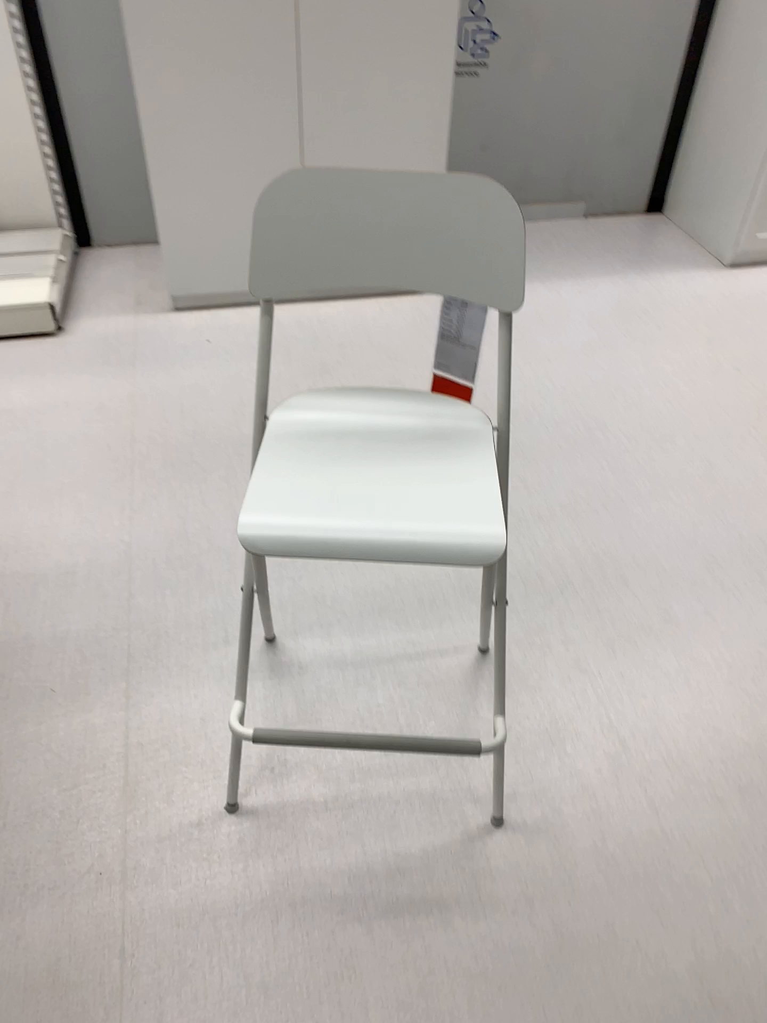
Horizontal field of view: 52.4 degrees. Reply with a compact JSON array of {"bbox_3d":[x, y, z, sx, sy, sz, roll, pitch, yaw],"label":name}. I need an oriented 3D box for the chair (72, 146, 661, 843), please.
[{"bbox_3d":[-0.026,0.033,1.187,0.520,0.936,0.502,3,43,0],"label":"chair"}]
